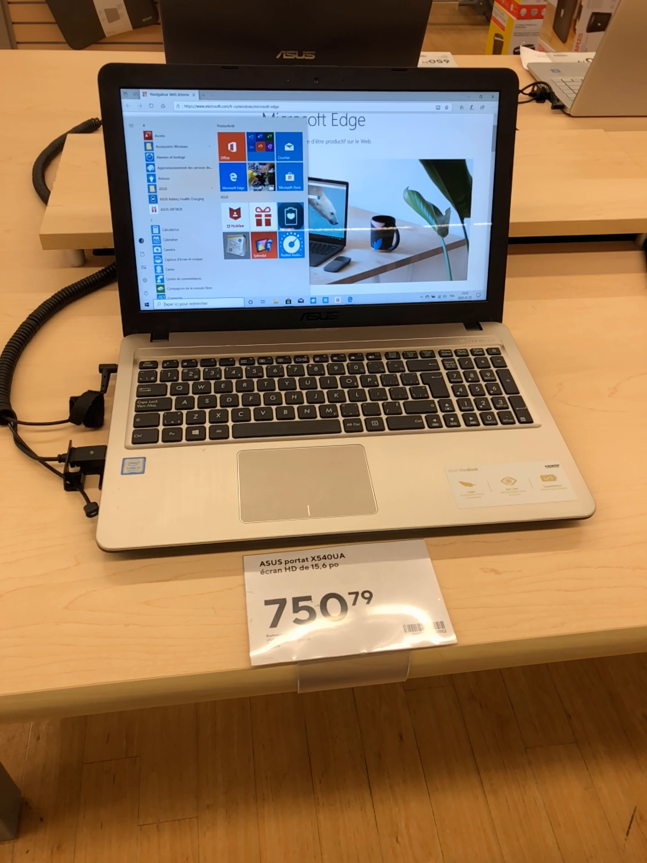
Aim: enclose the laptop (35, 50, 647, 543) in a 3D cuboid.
[{"bbox_3d":[0.004,-0.134,0.605,0.383,0.215,0.361,-3,47,-8],"label":"laptop"}]
